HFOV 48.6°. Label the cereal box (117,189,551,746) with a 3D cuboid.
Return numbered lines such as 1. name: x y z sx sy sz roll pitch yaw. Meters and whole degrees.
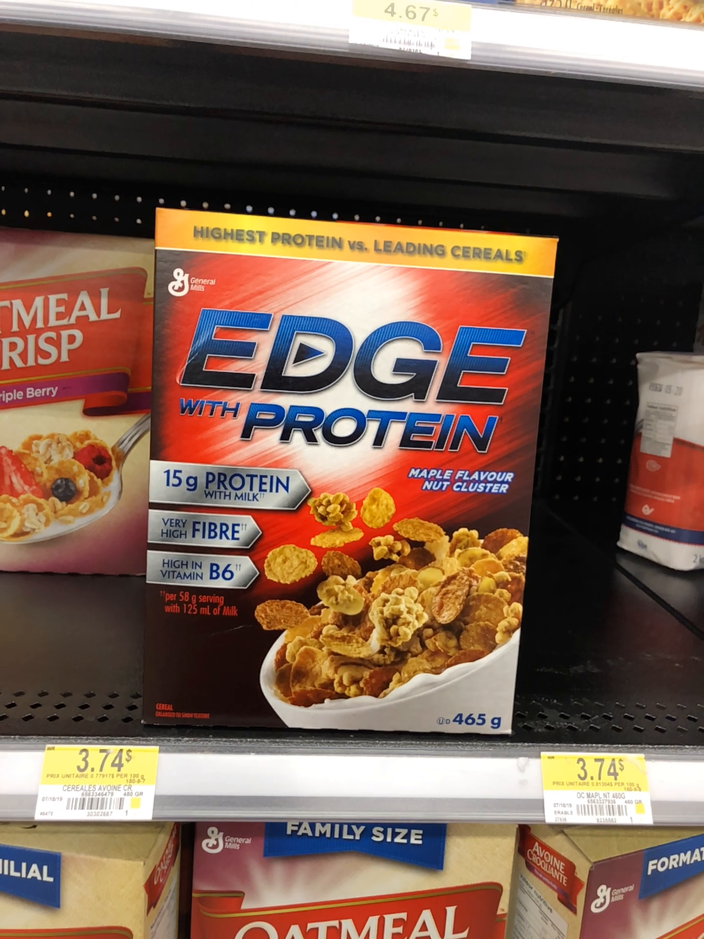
1. cereal box: -0.014 0.003 0.418 0.200 0.269 0.060 3 8 -3
